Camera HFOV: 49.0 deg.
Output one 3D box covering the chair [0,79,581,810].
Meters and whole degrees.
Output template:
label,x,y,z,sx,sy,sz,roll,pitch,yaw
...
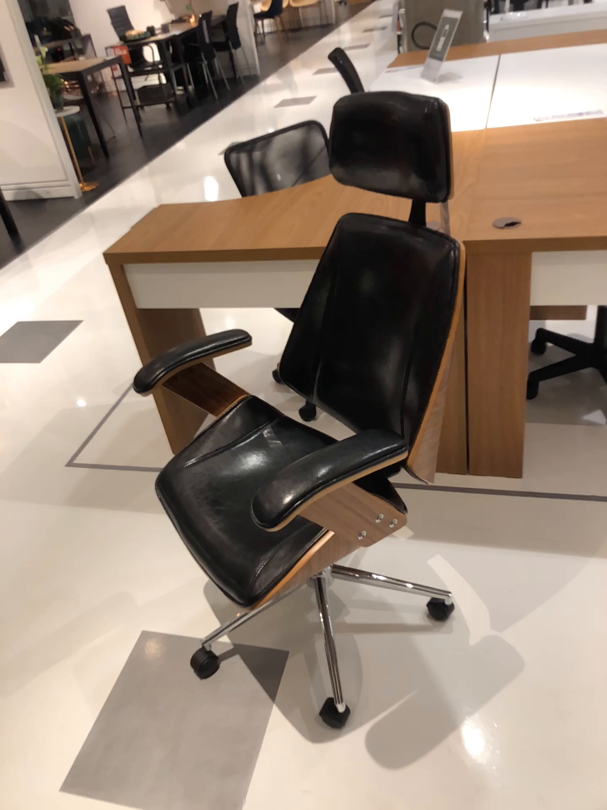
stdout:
label,x,y,z,sx,sy,sz,roll,pitch,yaw
chair,-0.028,0.031,1.371,0.762,1.101,0.724,-29,38,-25
